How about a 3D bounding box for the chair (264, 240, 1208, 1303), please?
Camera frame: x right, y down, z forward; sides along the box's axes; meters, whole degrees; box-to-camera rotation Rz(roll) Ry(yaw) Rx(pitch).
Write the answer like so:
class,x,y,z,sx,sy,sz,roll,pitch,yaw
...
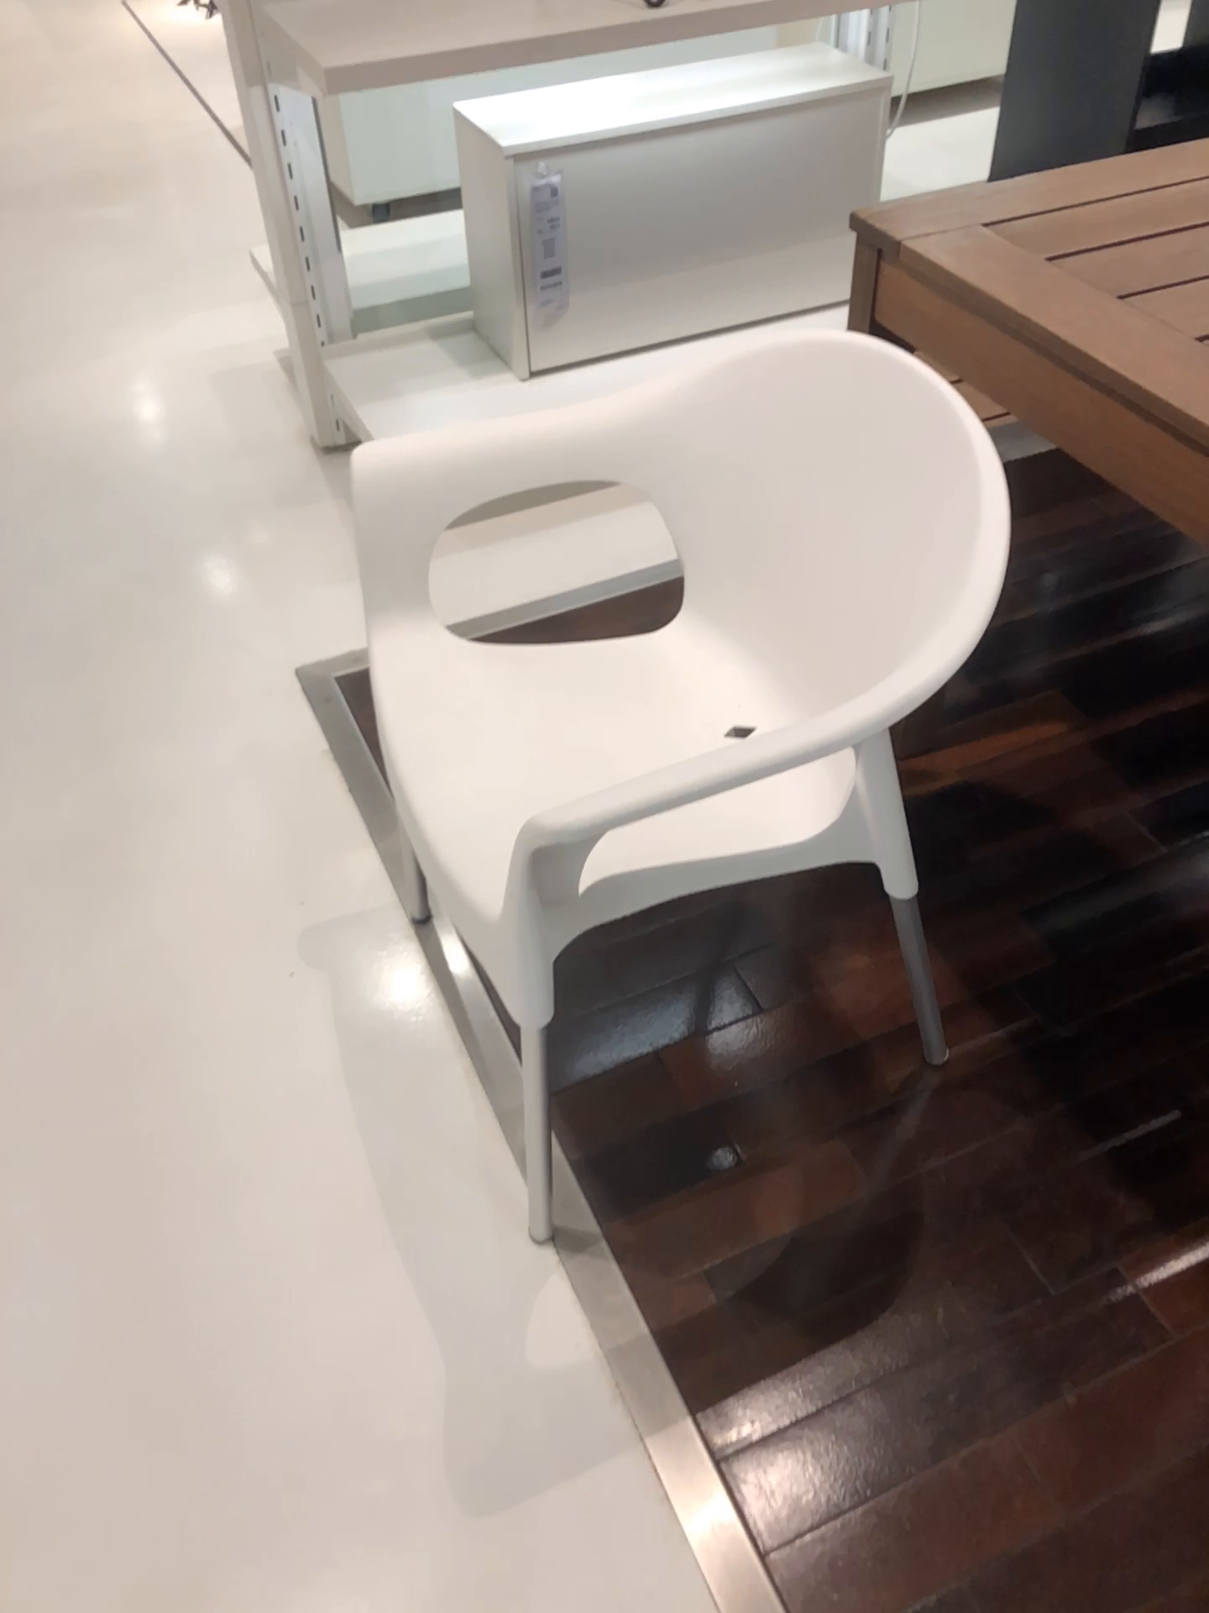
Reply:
class,x,y,z,sx,sy,sz,roll,pitch,yaw
chair,0.079,-0.048,1.295,0.561,0.705,0.584,-17,44,-14
